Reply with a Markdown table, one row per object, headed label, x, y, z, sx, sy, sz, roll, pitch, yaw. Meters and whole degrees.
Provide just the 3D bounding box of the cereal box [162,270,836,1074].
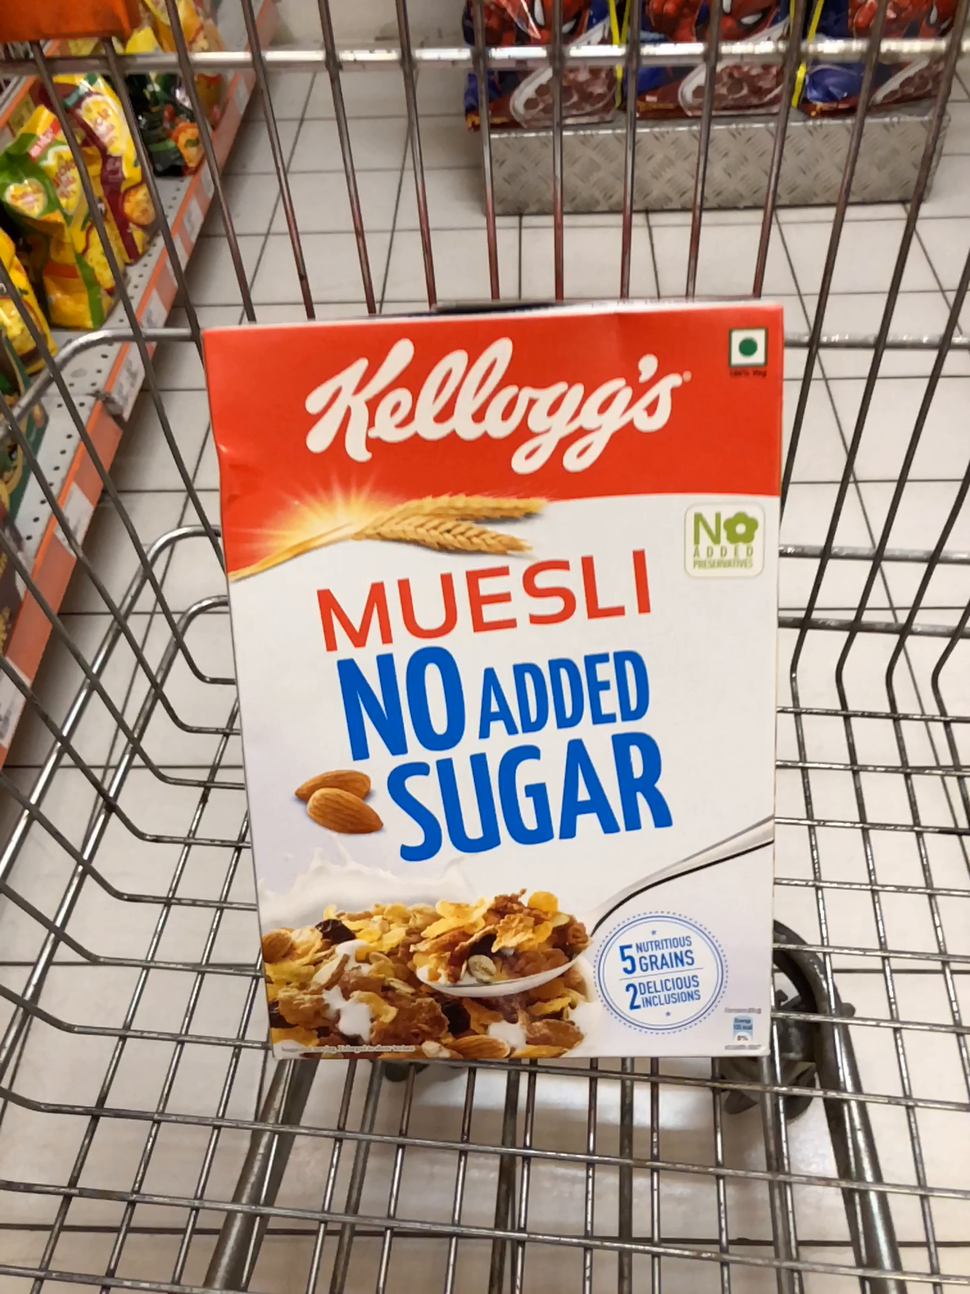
| label | x | y | z | sx | sy | sz | roll | pitch | yaw |
| --- | --- | --- | --- | --- | --- | --- | --- | --- | --- |
| cereal box | 0.008 | 0.013 | 0.371 | 0.190 | 0.259 | 0.070 | -1 | 15 | 3 |
